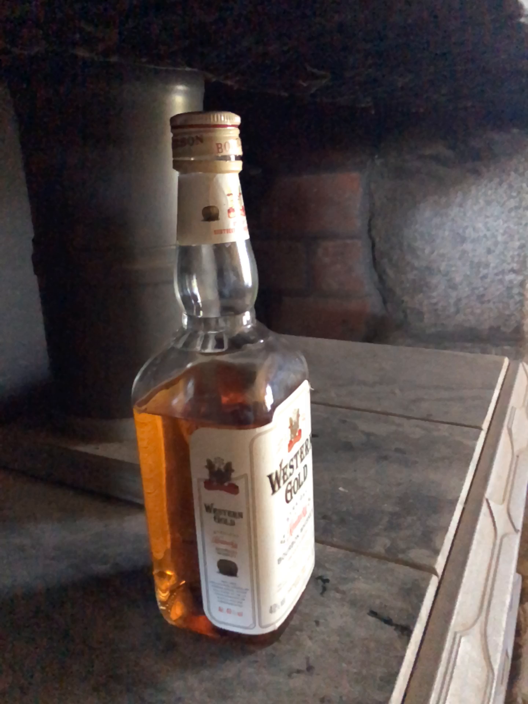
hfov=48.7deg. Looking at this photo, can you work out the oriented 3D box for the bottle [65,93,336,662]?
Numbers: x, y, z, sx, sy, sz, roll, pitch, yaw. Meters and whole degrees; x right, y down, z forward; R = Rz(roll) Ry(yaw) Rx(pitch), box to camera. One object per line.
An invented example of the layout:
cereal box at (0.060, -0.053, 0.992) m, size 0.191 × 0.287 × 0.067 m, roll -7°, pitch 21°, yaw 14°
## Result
bottle at (-0.018, 0.011, 0.293) m, size 0.080 × 0.249 × 0.091 m, roll 6°, pitch 20°, yaw 25°
